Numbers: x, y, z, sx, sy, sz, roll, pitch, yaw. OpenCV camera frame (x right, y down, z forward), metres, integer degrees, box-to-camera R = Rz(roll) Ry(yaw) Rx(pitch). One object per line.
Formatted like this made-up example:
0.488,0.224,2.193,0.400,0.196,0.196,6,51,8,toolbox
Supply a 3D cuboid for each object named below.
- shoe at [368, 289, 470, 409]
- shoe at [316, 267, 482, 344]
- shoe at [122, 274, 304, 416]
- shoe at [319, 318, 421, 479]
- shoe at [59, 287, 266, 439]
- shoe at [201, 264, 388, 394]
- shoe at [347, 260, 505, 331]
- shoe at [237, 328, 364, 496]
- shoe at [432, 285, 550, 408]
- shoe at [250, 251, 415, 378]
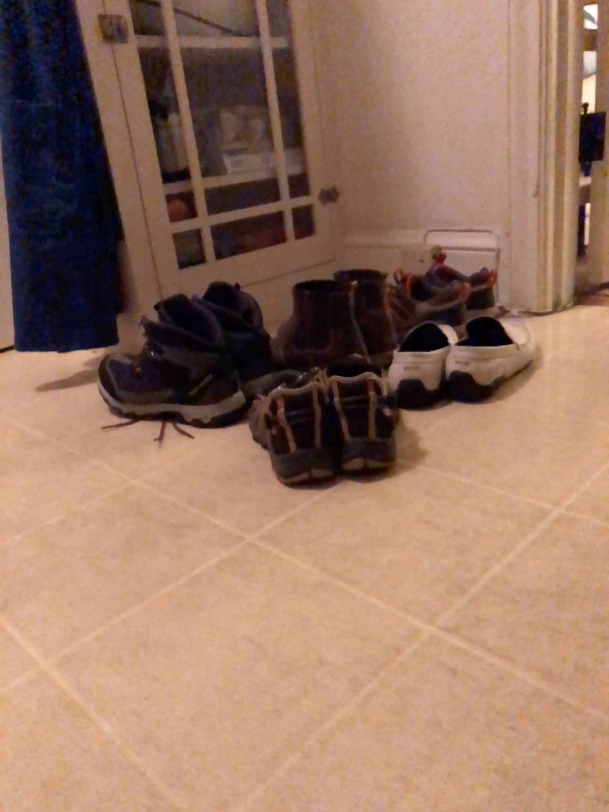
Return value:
0.203,-0.106,1.129,0.110,0.113,0.304,1,22,21,shoe
0.184,-0.208,1.346,0.314,0.113,0.110,12,27,41,shoe
-0.166,-0.119,1.183,0.324,0.192,0.110,13,28,42,shoe
0.083,-0.024,0.949,0.110,0.123,0.294,-6,21,3,shoe
-0.234,-0.081,1.086,0.324,0.192,0.110,9,25,36,shoe
-0.023,-0.150,1.228,0.324,0.192,0.110,10,26,37,shoe
0.252,-0.241,1.425,0.314,0.113,0.110,12,27,41,shoe
-0.016,-0.007,0.927,0.110,0.123,0.294,-10,21,-8,shoe
0.317,-0.109,1.108,0.110,0.113,0.304,5,24,30,shoe
0.047,-0.188,1.299,0.110,0.192,0.324,-22,25,-36,shoe
